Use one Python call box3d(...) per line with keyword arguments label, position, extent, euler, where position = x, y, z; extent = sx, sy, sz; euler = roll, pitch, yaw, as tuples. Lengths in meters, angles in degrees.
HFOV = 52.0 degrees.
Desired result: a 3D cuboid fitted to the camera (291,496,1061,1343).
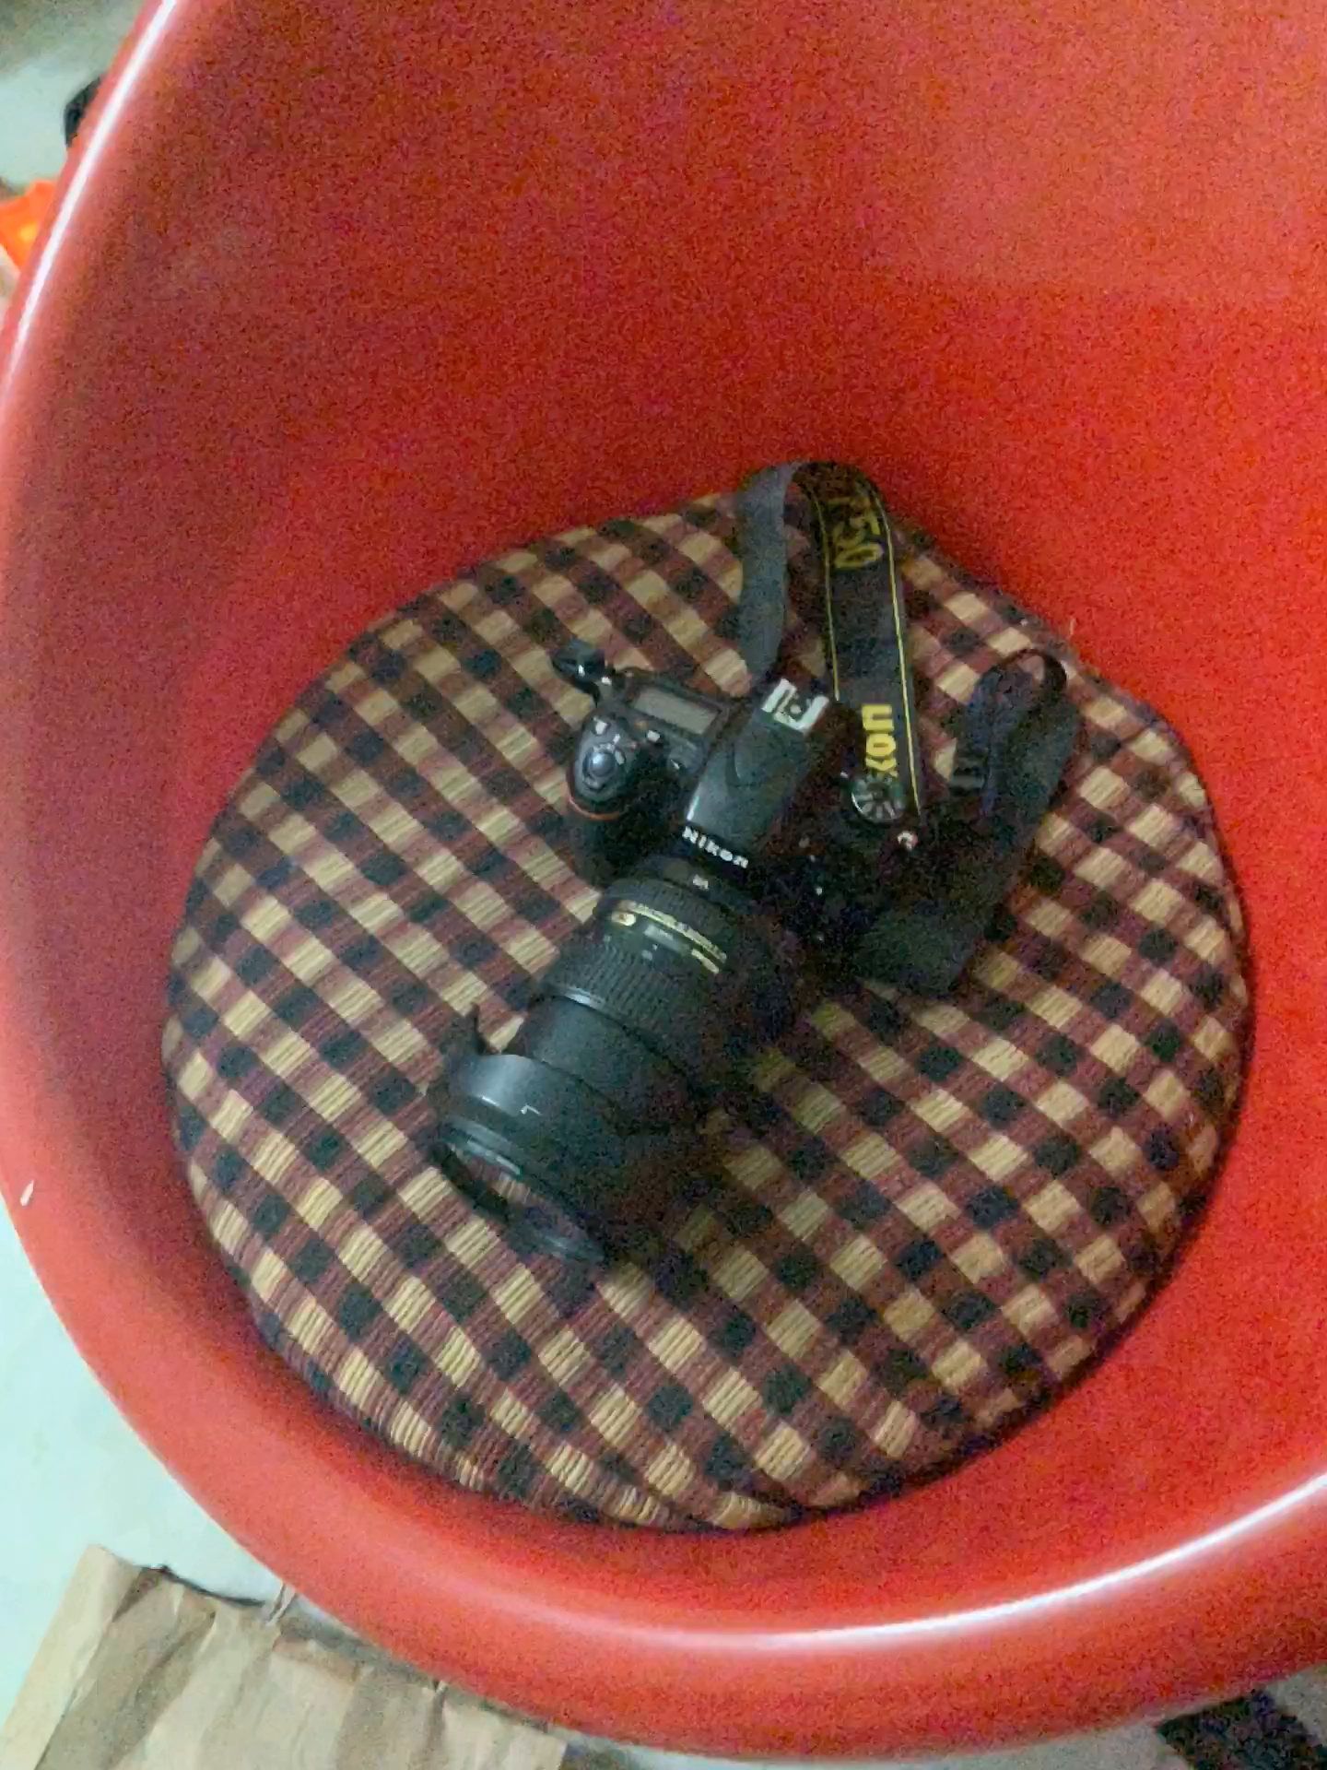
box3d(label="camera", position=(0.017, 0.020, 0.554), extent=(0.160, 0.180, 0.253), euler=(28, 71, 16))
